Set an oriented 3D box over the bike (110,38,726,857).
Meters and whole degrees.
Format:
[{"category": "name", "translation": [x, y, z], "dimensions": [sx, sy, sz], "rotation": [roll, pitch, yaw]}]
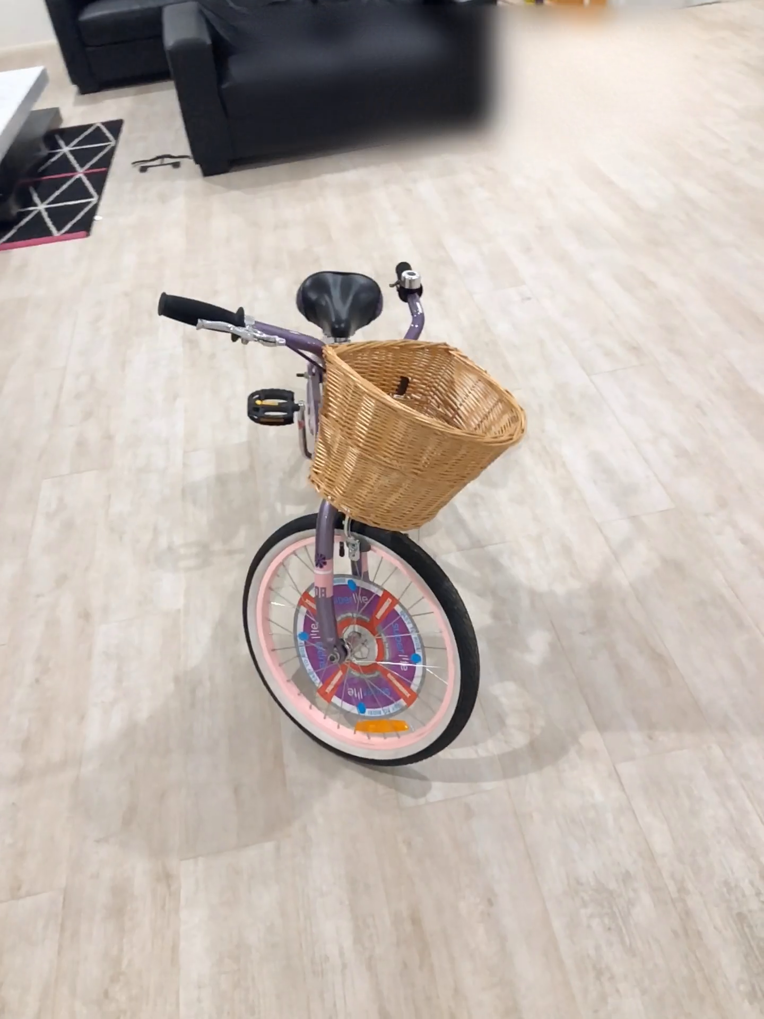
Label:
[{"category": "bike", "translation": [-0.033, -0.194, 1.690], "dimensions": [0.746, 0.877, 1.222], "rotation": [-12, 46, -5]}]
